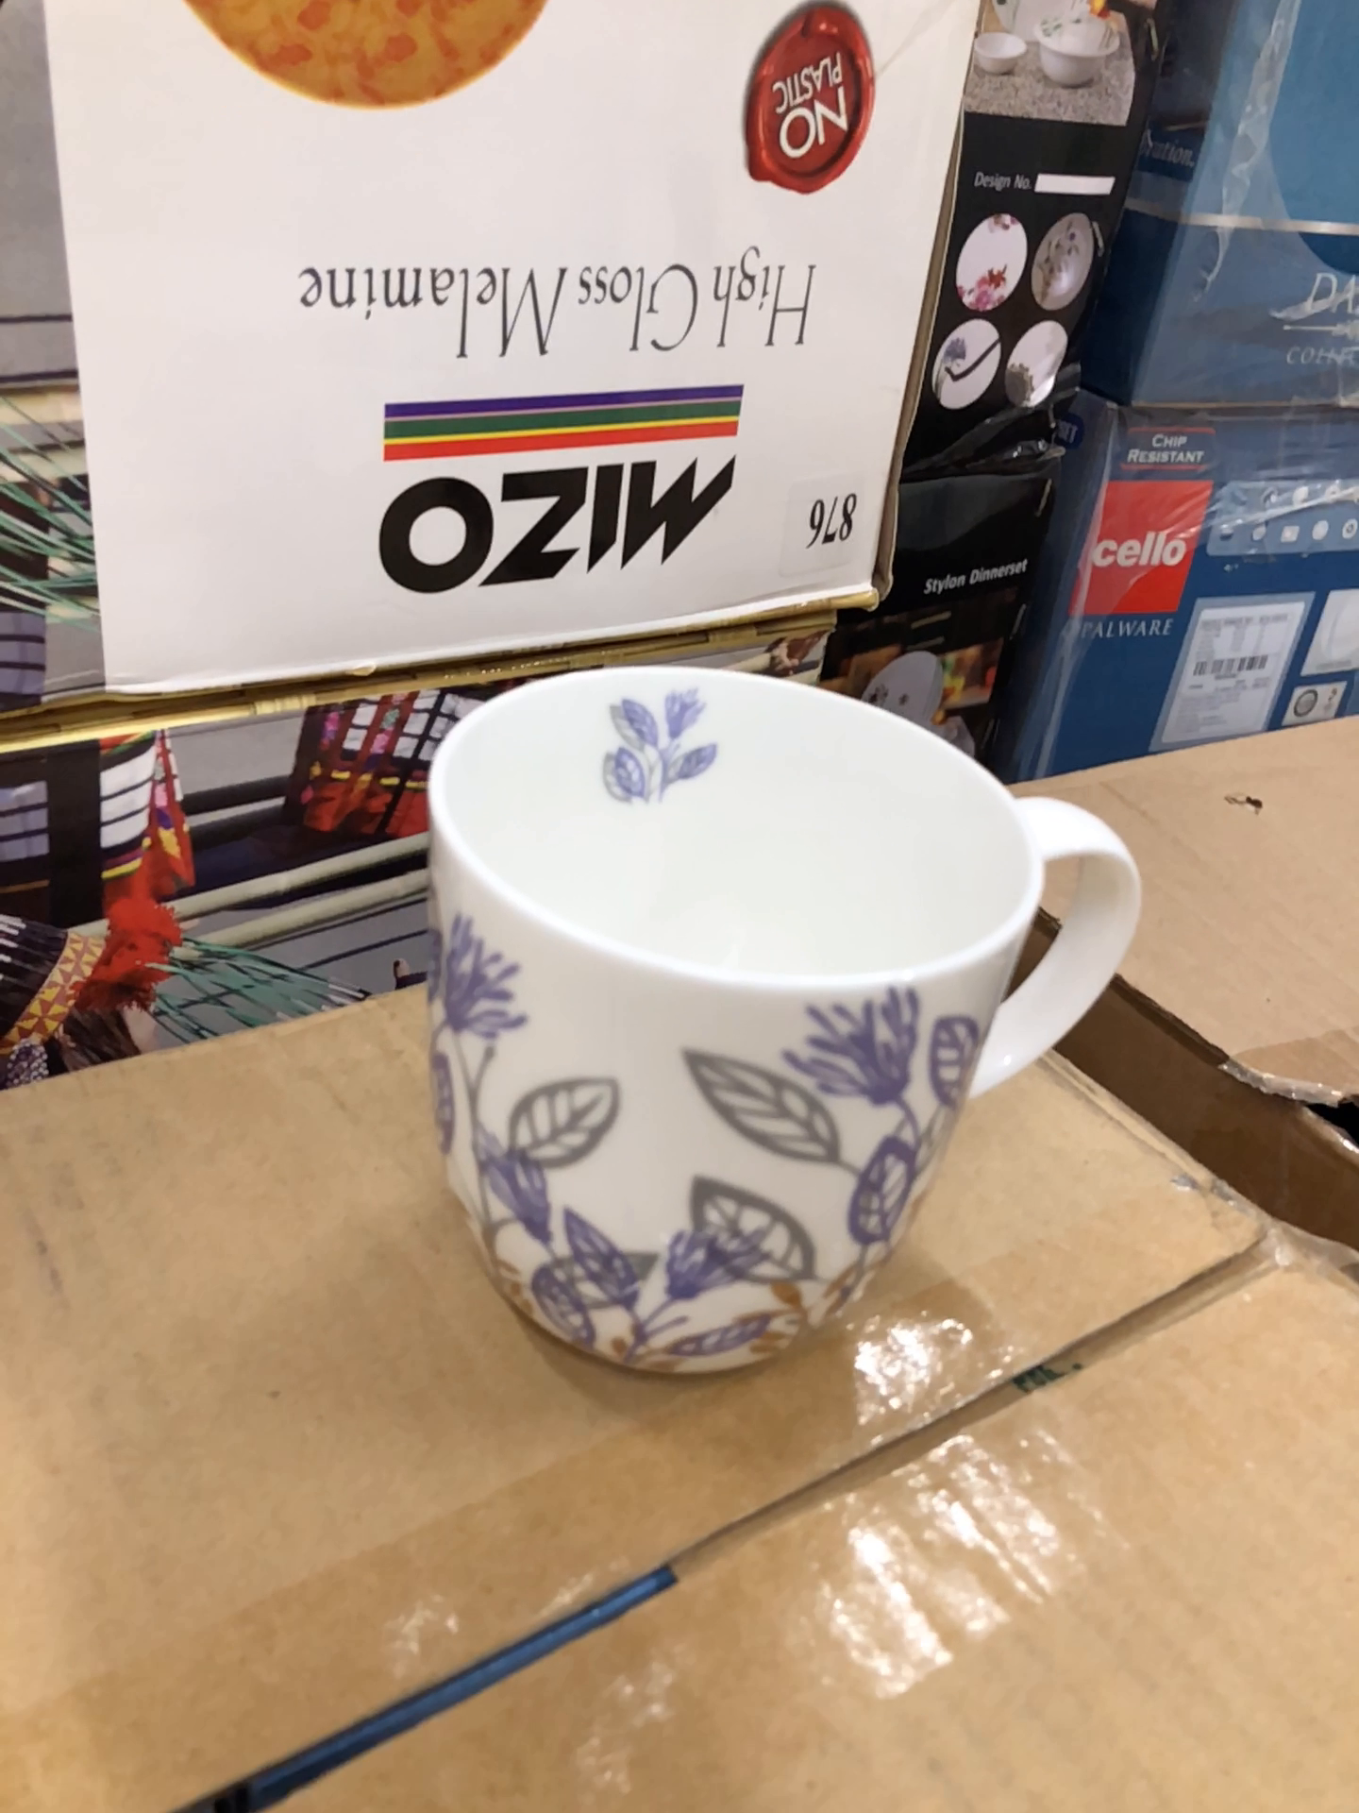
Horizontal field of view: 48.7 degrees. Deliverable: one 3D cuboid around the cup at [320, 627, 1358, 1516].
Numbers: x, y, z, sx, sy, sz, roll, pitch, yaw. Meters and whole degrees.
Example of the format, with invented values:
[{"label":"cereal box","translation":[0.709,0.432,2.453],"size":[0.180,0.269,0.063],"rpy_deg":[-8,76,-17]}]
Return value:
[{"label":"cup","translation":[0.018,0.013,0.229],"size":[0.120,0.070,0.090],"rpy_deg":[-11,37,-28]}]
